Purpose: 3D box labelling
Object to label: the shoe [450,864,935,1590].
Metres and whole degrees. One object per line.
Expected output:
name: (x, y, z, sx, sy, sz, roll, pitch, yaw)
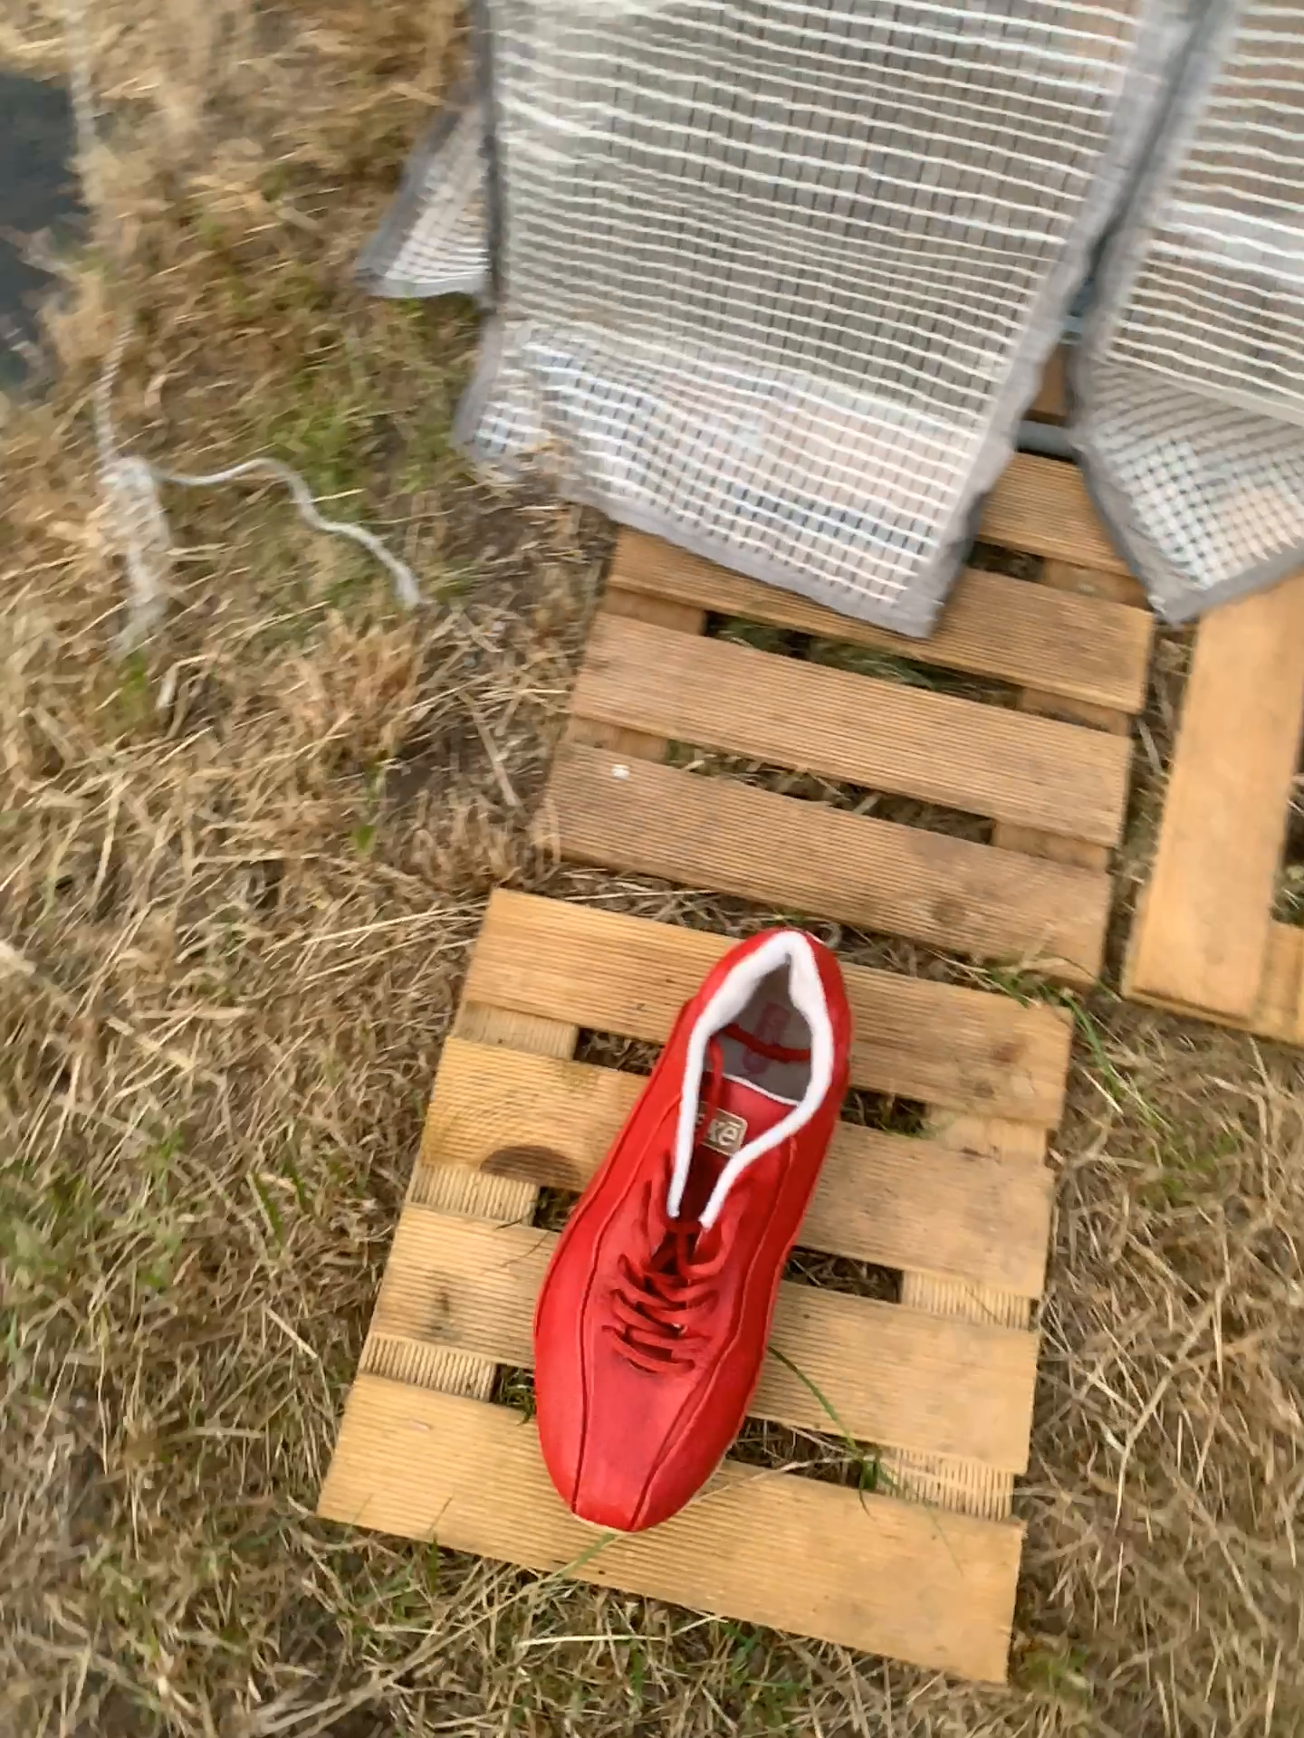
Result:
shoe: (0.023, 0.146, 0.578, 0.100, 0.100, 0.261, 22, 75, 8)
